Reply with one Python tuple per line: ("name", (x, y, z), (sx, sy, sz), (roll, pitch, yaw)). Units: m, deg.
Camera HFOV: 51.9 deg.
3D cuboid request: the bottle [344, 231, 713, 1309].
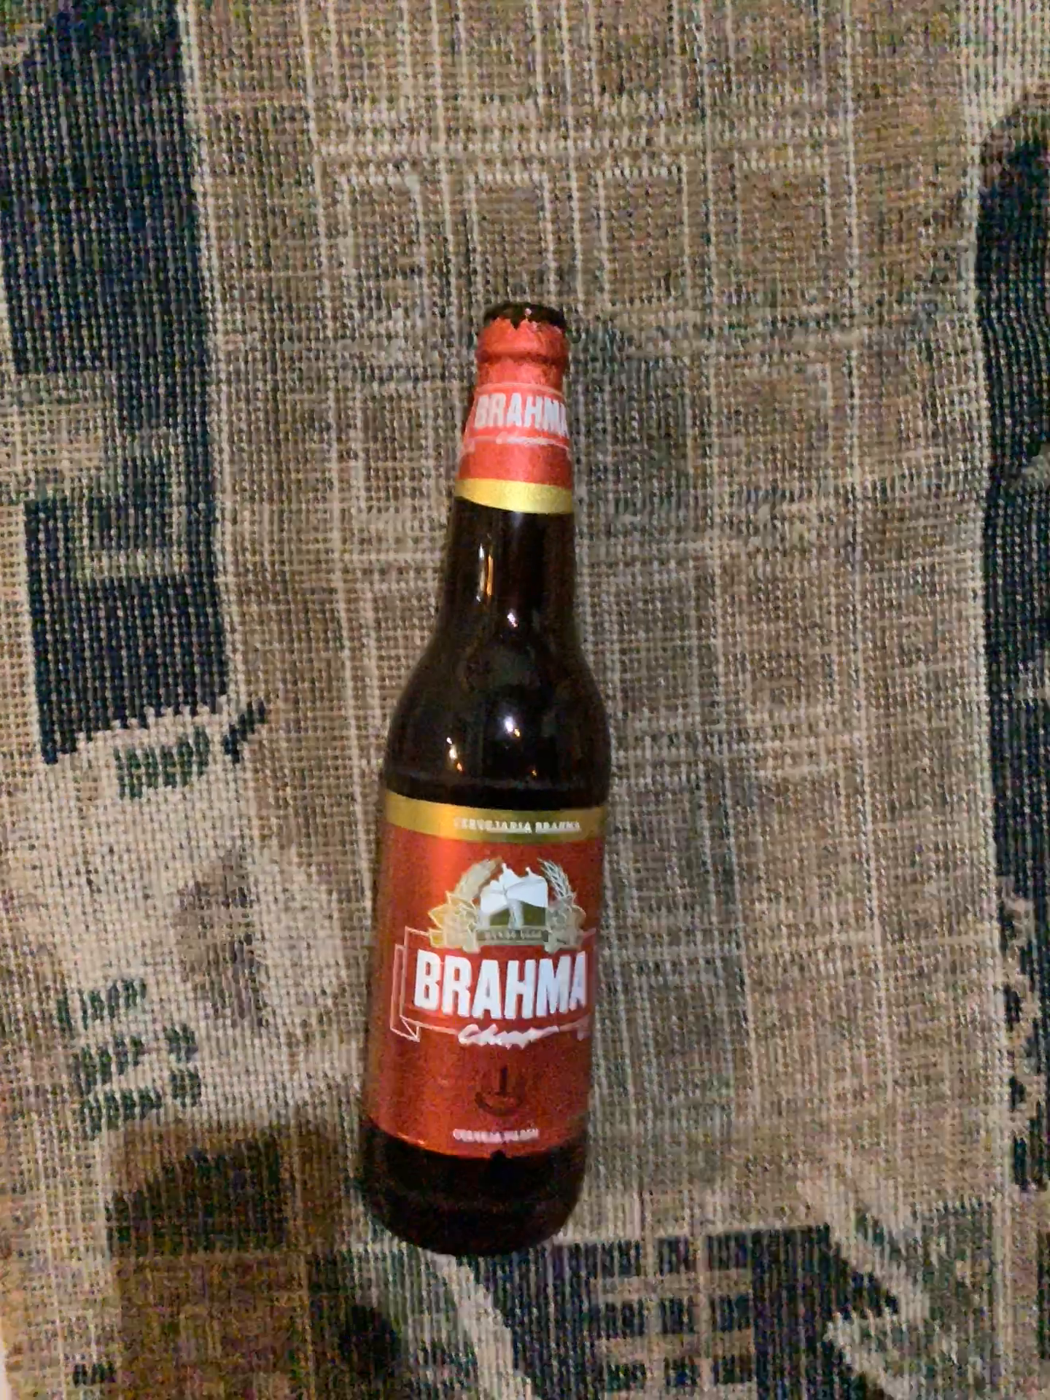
("bottle", (-0.003, 0.022, 0.312), (0.080, 0.060, 0.280), (3, 93, -6))
